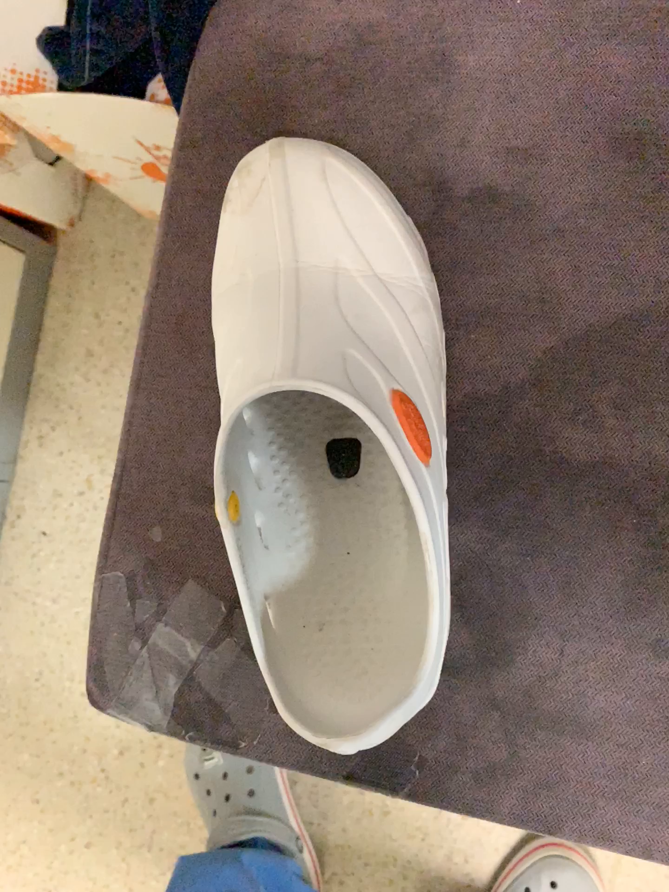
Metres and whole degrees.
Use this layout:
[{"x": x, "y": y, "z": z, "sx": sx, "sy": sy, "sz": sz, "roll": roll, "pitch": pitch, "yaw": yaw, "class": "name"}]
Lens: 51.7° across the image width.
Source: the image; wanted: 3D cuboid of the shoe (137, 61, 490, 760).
[{"x": -0.002, "y": -0.009, "z": 0.266, "sx": 0.091, "sy": 0.093, "sz": 0.213, "roll": -7, "pitch": 86, "yaw": 11, "class": "shoe"}]
